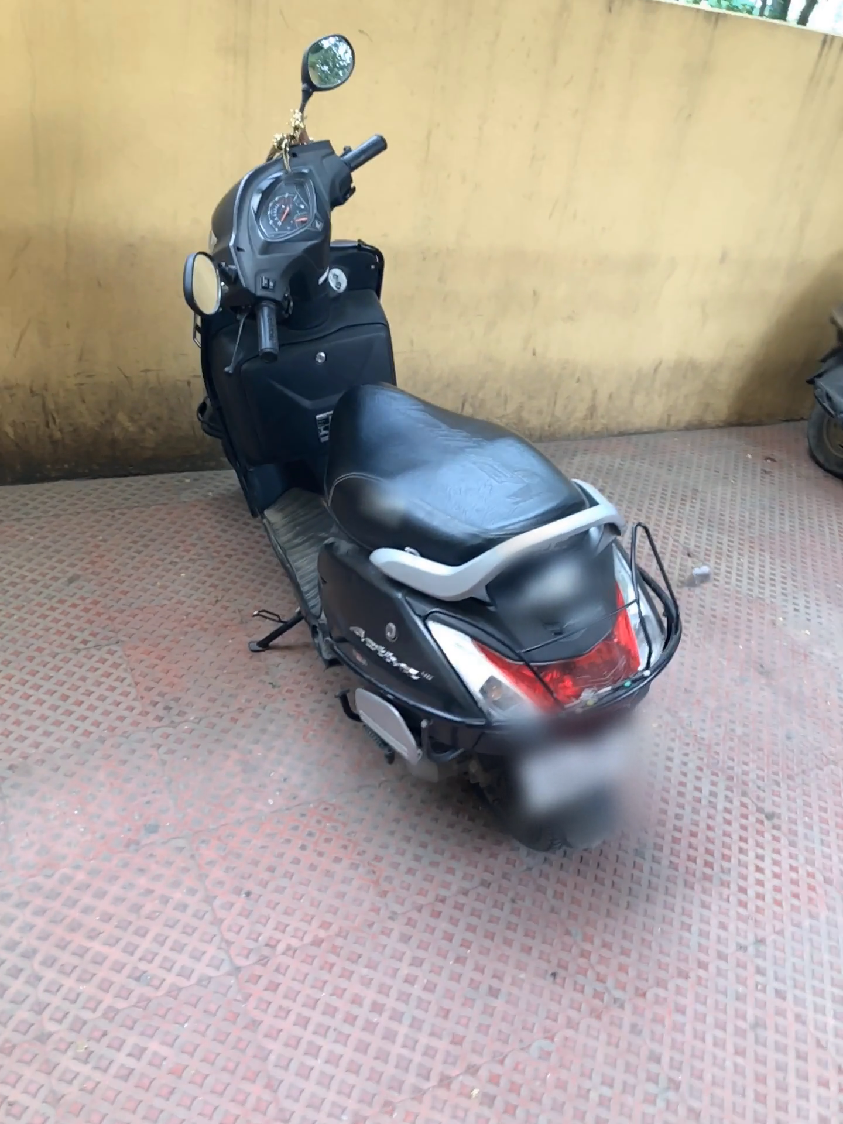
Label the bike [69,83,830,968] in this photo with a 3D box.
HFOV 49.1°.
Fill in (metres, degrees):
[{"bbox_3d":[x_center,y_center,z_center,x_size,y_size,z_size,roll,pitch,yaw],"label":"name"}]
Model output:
[{"bbox_3d":[-0.185,-0.246,1.917,0.594,1.044,1.588,-12,39,-31],"label":"bike"}]
